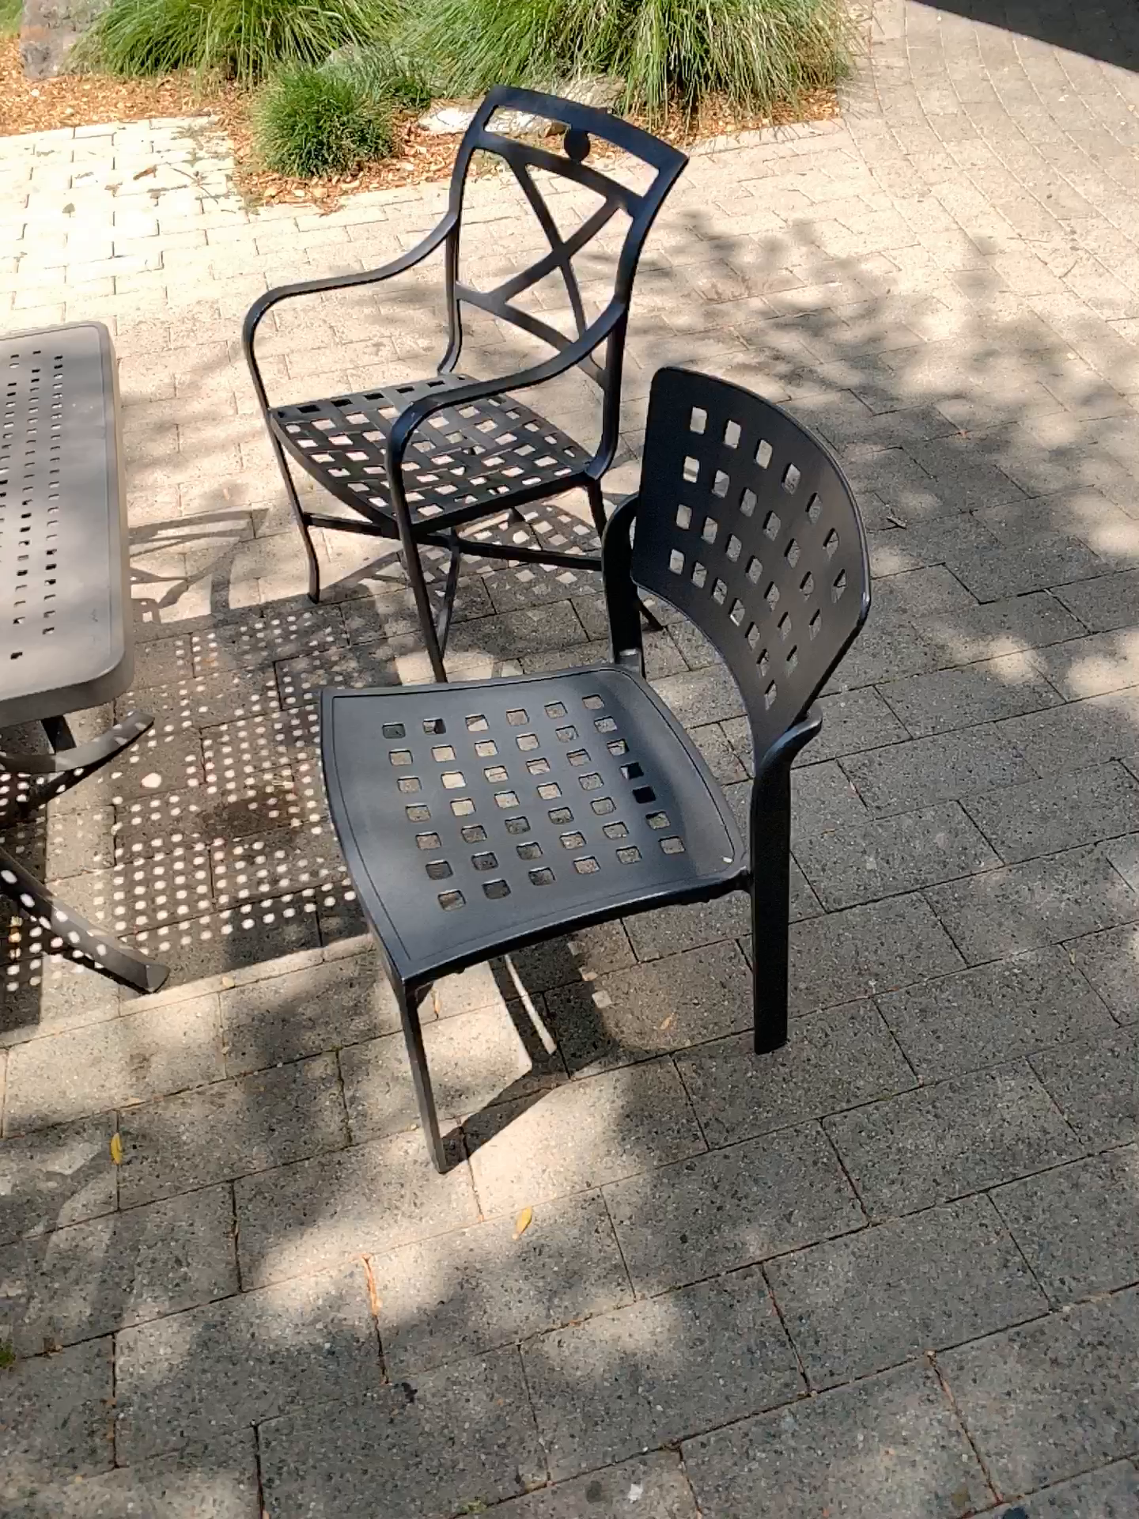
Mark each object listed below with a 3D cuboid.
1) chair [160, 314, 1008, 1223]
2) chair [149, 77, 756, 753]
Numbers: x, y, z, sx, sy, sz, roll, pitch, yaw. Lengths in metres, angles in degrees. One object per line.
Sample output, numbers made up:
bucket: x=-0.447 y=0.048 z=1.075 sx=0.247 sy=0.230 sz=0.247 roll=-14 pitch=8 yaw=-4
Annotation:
chair: x=-0.021 y=-0.004 z=1.386 sx=0.650 sy=0.706 sz=0.624 roll=-17 pitch=46 yaw=-13
chair: x=-0.168 y=-0.595 z=1.951 sx=0.651 sy=0.756 sz=0.623 roll=-30 pitch=50 yaw=-25
